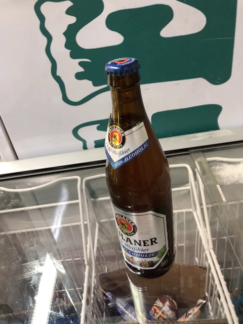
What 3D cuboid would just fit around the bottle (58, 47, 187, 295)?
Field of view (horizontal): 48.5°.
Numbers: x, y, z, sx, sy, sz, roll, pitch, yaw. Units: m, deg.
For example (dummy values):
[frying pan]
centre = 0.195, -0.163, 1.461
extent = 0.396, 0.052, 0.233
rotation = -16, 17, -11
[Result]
[bottle]
centre = 0.016, 0.022, 0.264
extent = 0.070, 0.238, 0.060
rotation = 20, 44, 37
